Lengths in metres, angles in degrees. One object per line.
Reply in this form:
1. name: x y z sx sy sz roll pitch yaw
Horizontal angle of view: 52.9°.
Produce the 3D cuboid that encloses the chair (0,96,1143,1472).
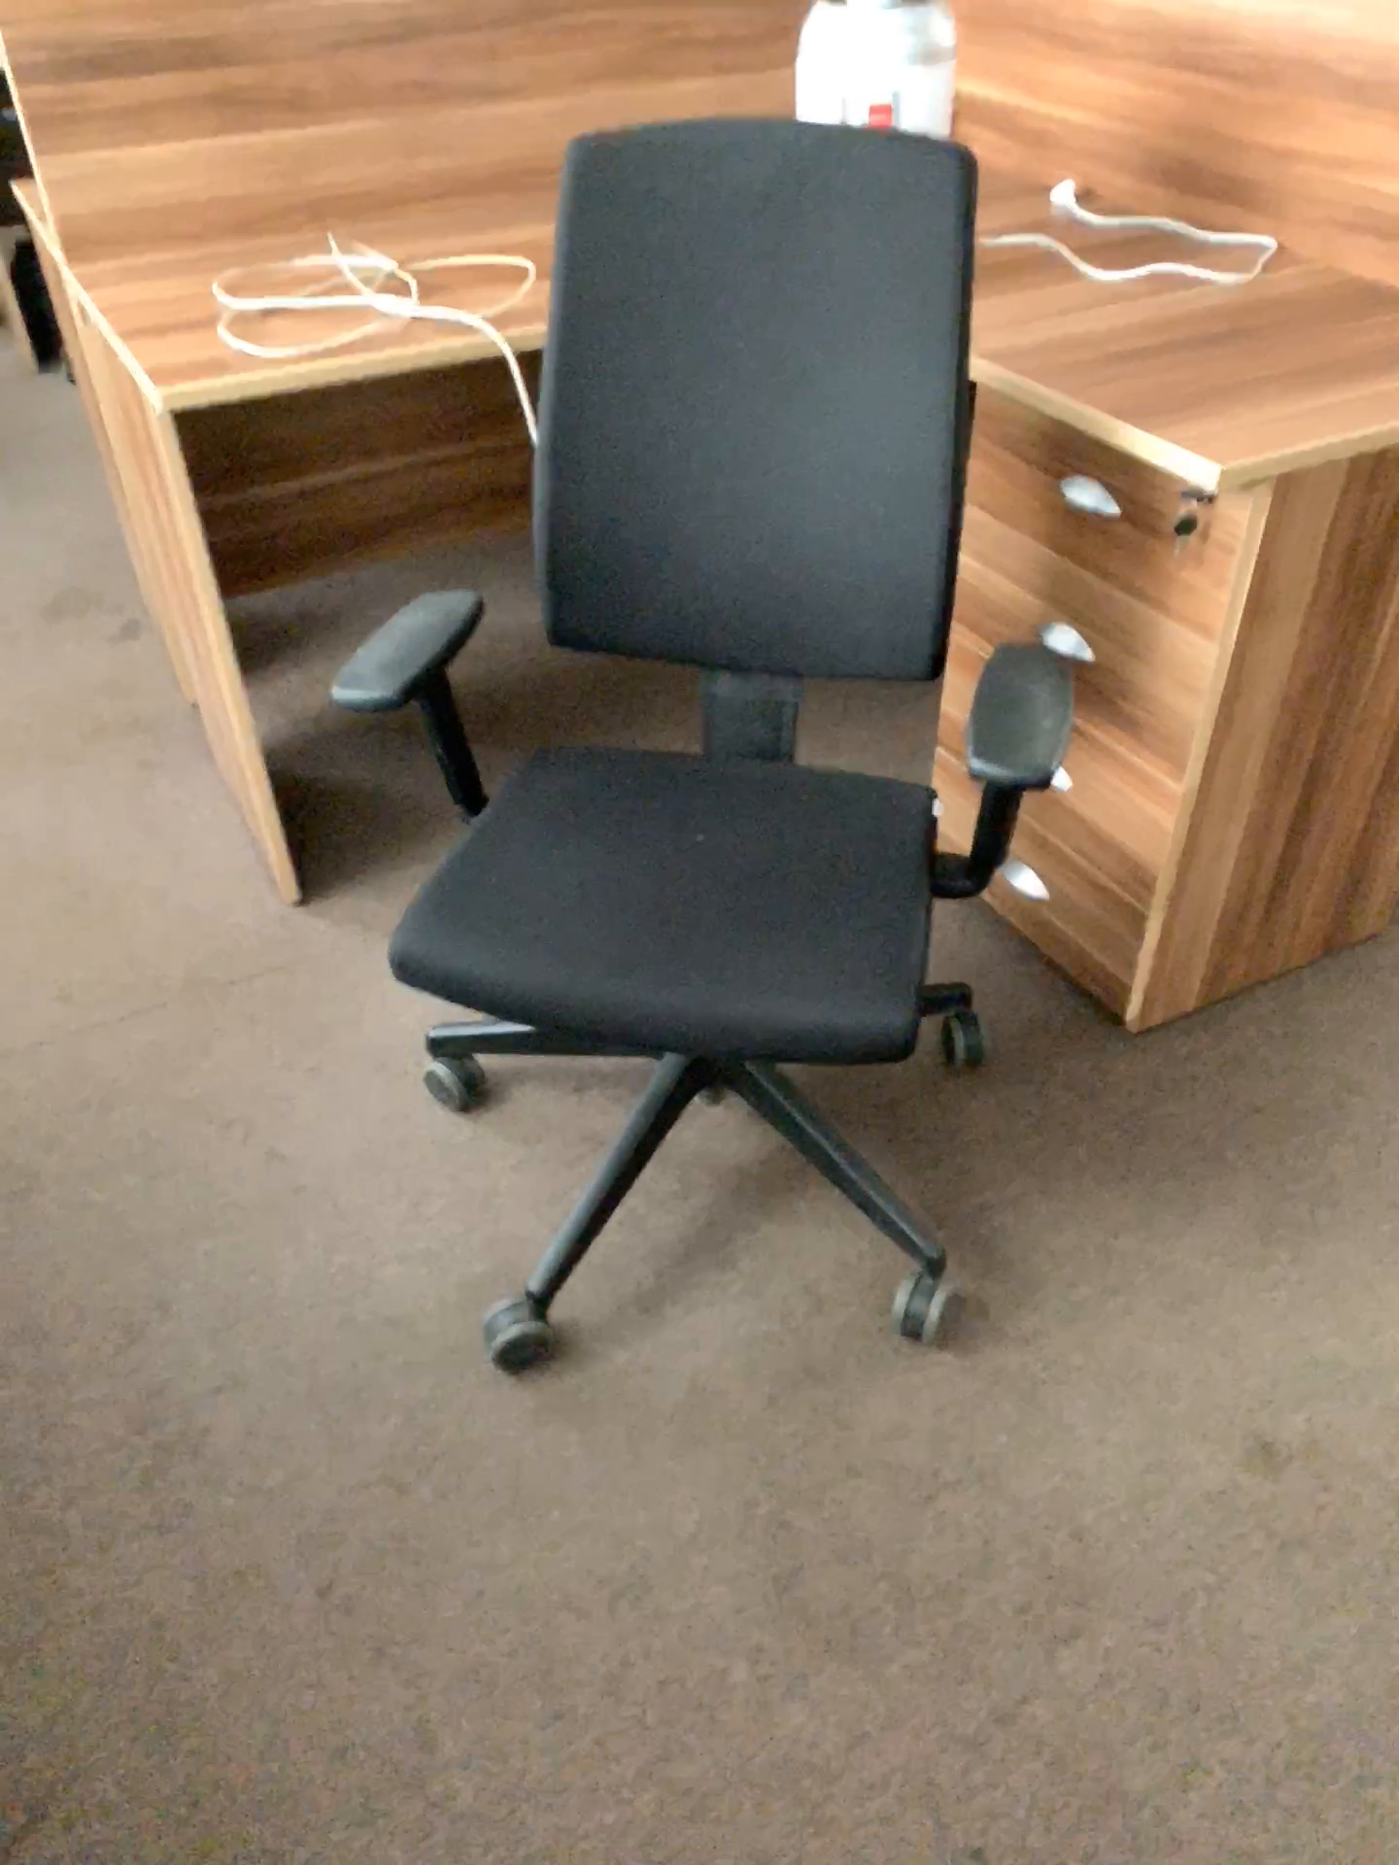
1. chair: -0.021 -0.175 1.300 0.670 0.915 0.794 7 40 11
